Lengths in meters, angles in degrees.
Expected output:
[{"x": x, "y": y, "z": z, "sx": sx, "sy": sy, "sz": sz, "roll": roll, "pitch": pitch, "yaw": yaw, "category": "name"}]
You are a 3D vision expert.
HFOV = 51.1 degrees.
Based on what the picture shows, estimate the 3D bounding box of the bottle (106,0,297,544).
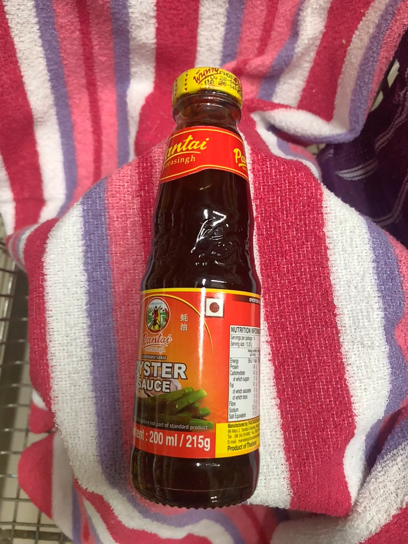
[{"x": 0.003, "y": -0.006, "z": 0.178, "sx": 0.050, "sy": 0.050, "sz": 0.190, "roll": -6, "pitch": 77, "yaw": 39, "category": "bottle"}]
